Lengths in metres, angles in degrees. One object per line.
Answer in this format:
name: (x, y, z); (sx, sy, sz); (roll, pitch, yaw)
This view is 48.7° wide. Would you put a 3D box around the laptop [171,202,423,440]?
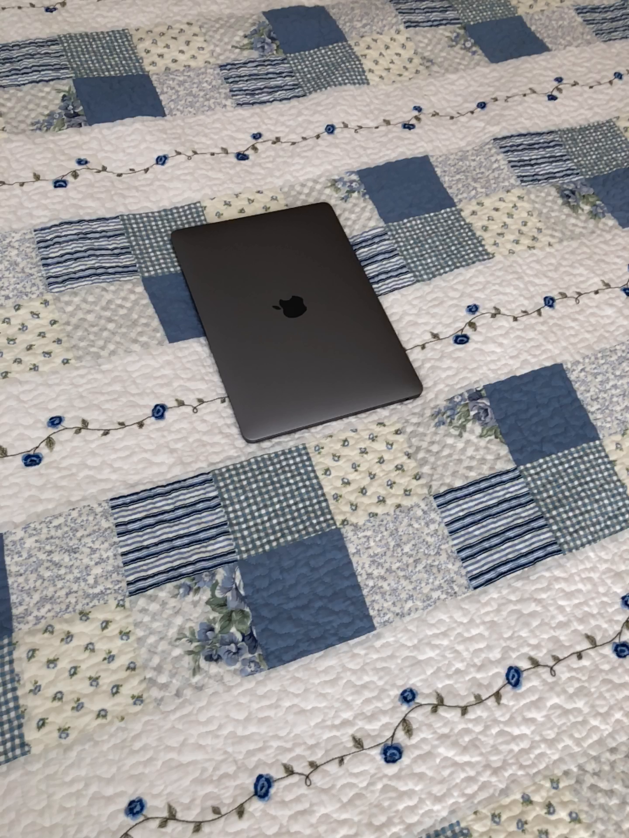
laptop: (-0.026, -0.126, 0.792); (0.201, 0.005, 0.290); (-15, 64, -16)
